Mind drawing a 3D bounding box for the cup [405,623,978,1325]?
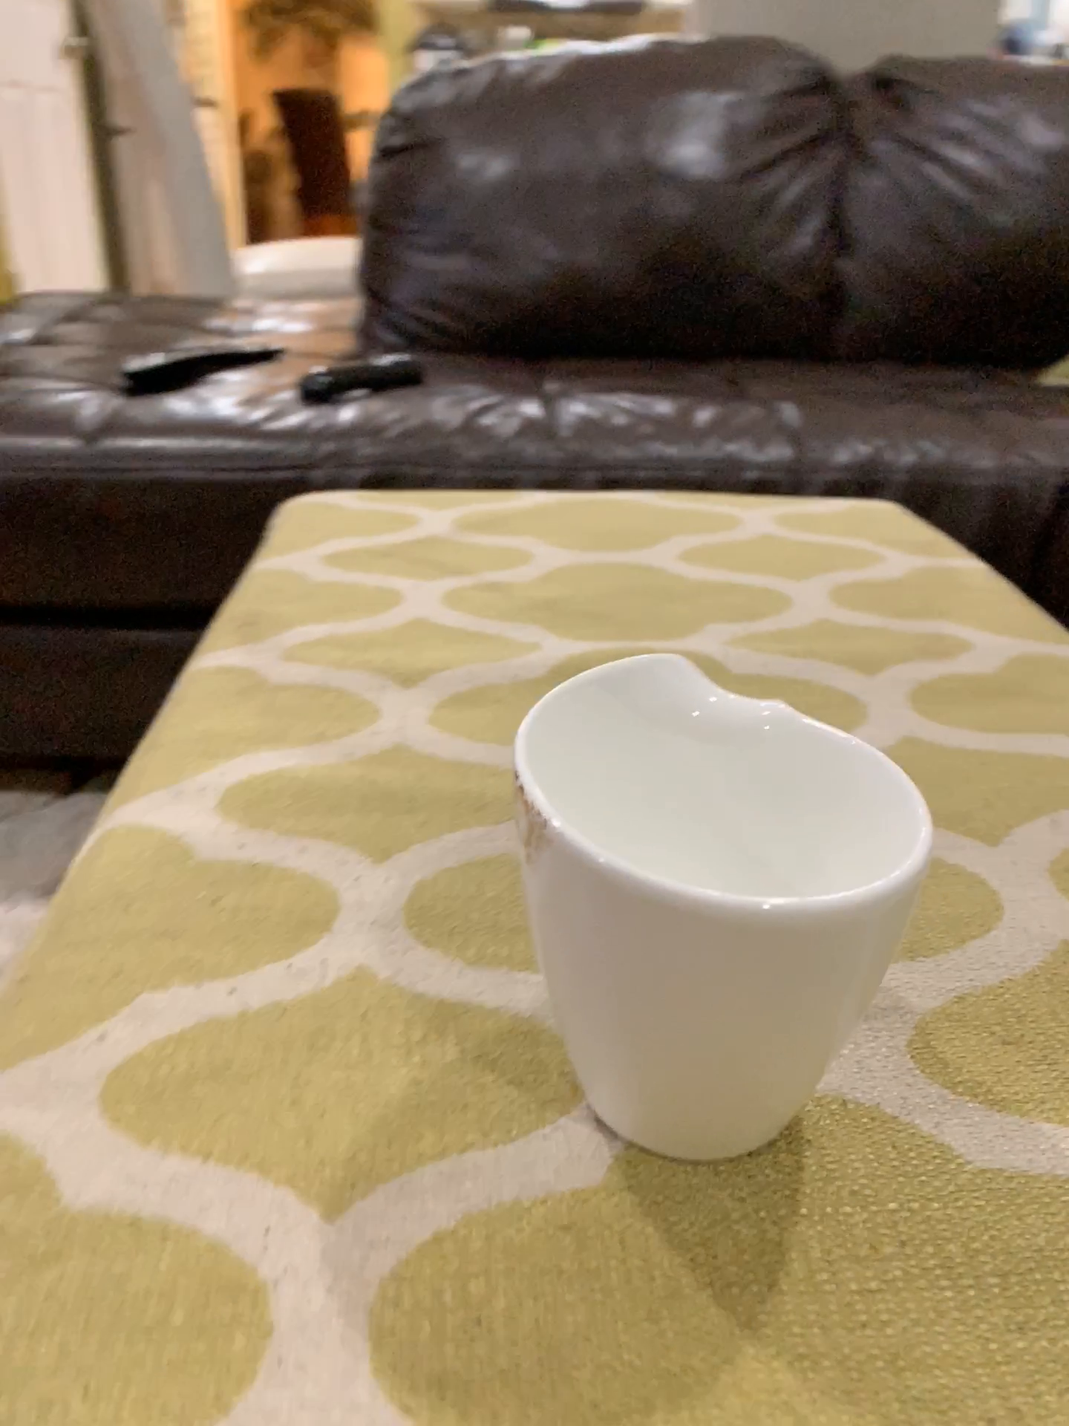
[{"bbox_3d":[0.039,0.043,0.241,0.089,0.079,0.109,12,28,20],"label":"cup"}]
